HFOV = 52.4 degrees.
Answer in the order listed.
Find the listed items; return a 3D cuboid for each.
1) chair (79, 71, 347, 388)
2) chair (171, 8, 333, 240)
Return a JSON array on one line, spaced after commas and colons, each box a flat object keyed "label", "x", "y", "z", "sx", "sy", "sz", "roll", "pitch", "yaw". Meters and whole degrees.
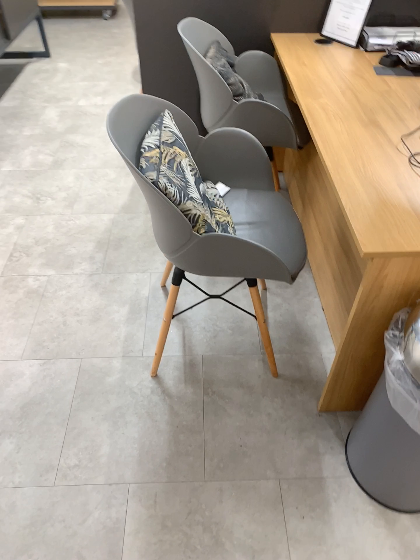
[{"label": "chair", "x": 0.006, "y": -0.136, "z": 1.365, "sx": 0.546, "sy": 0.808, "sz": 0.603, "roll": 0, "pitch": 45, "yaw": 0}, {"label": "chair", "x": 0.141, "y": -0.683, "z": 1.927, "sx": 0.546, "sy": 0.808, "sz": 0.593, "roll": 0, "pitch": 45, "yaw": 0}]
